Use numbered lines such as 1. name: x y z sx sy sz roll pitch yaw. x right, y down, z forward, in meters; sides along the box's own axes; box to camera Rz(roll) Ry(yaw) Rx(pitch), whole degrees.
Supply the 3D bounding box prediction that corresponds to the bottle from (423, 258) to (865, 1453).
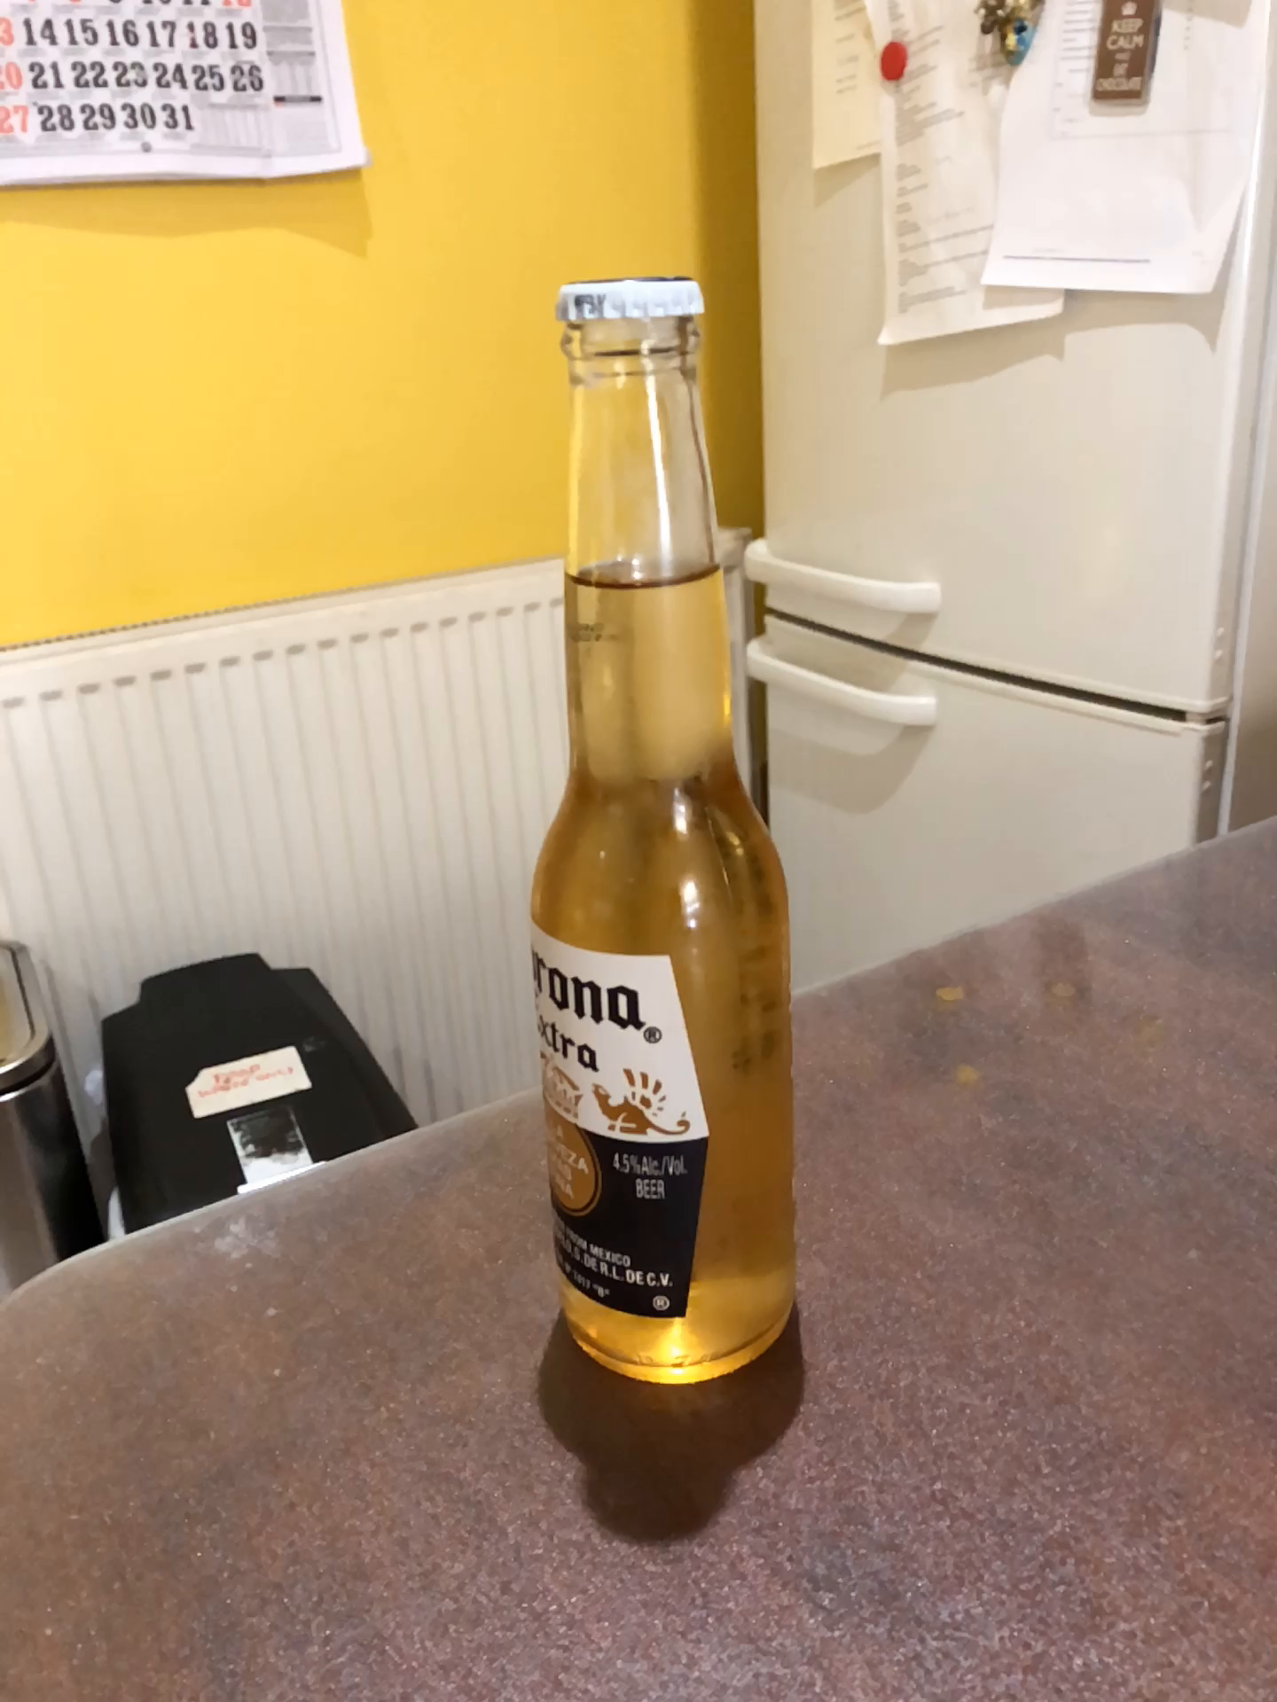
1. bottle: 0.006 0.005 0.303 0.060 0.239 0.060 -3 21 1
